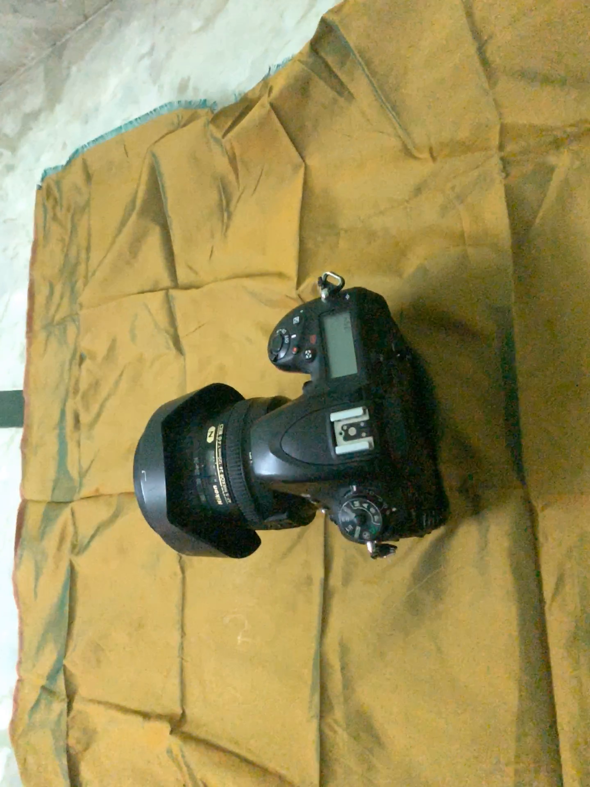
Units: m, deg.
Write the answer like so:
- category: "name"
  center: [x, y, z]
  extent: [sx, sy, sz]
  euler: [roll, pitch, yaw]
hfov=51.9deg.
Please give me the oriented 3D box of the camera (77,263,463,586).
- category: "camera"
  center: [-0.018, 0.030, 0.361]
  extent: [0.193, 0.100, 0.140]
  euler: [-11, 77, 25]
